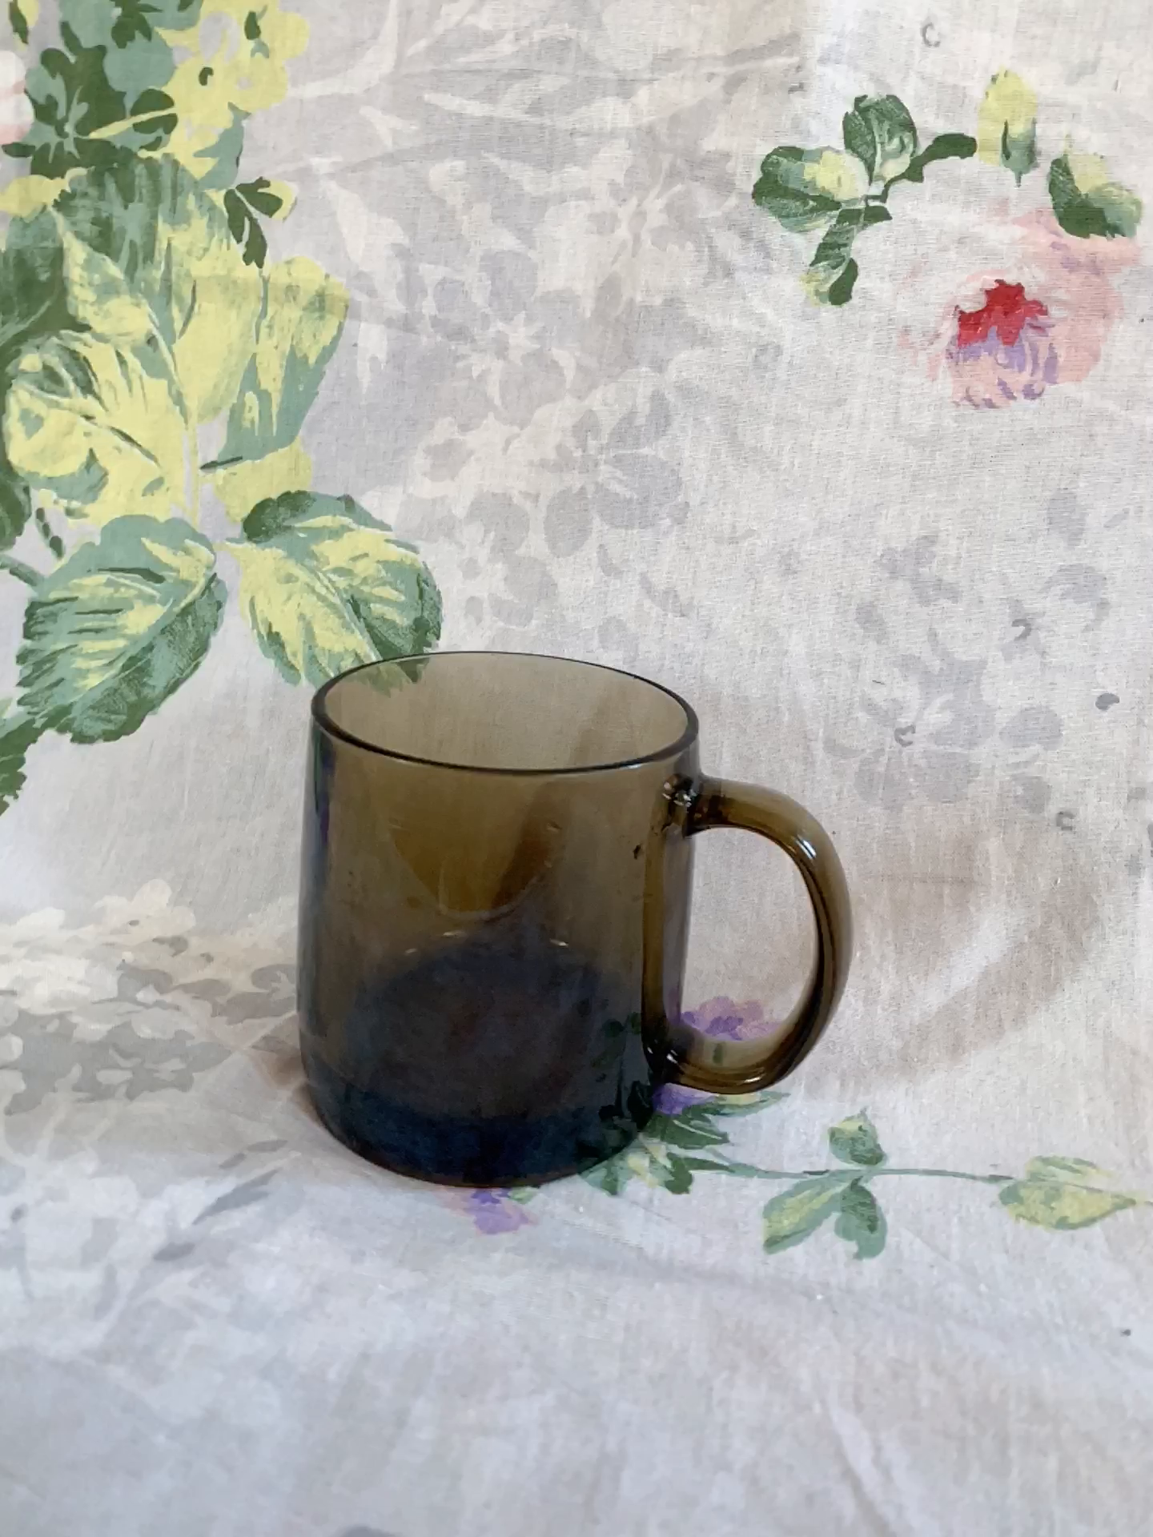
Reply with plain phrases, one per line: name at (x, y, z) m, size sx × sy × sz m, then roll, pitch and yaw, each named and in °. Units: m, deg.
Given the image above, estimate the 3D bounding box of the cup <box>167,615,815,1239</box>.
cup at (-0.012, 0.027, 0.268) m, size 0.119 × 0.099 × 0.082 m, roll 5°, pitch 20°, yaw 10°
